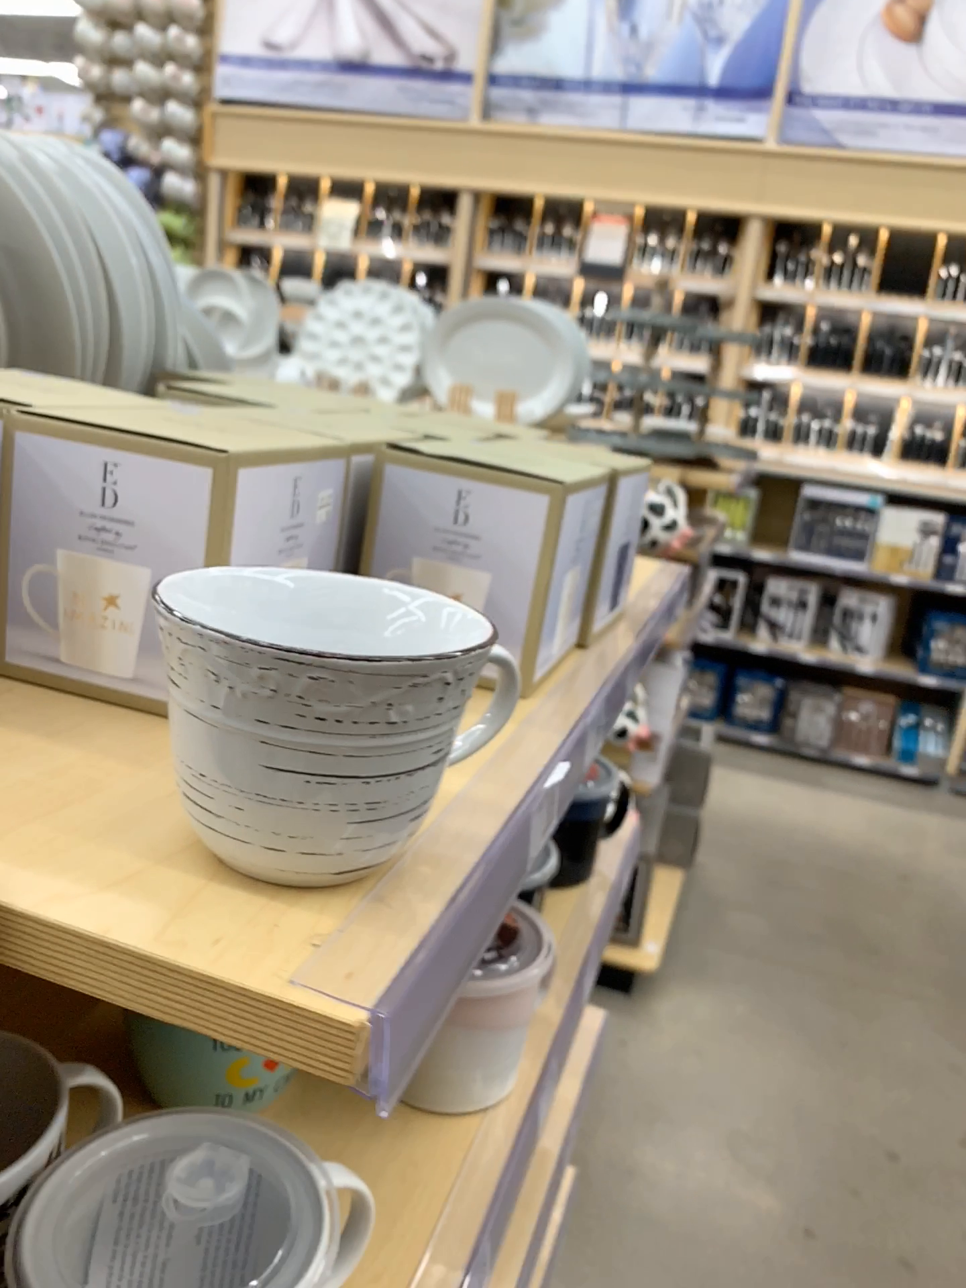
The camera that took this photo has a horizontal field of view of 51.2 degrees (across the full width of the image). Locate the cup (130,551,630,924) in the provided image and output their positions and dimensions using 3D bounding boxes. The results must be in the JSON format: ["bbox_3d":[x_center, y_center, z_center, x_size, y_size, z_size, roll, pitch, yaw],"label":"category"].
[{"bbox_3d":[-0.041,0.020,0.331,0.124,0.075,0.114,7,15,-2],"label":"cup"}]
